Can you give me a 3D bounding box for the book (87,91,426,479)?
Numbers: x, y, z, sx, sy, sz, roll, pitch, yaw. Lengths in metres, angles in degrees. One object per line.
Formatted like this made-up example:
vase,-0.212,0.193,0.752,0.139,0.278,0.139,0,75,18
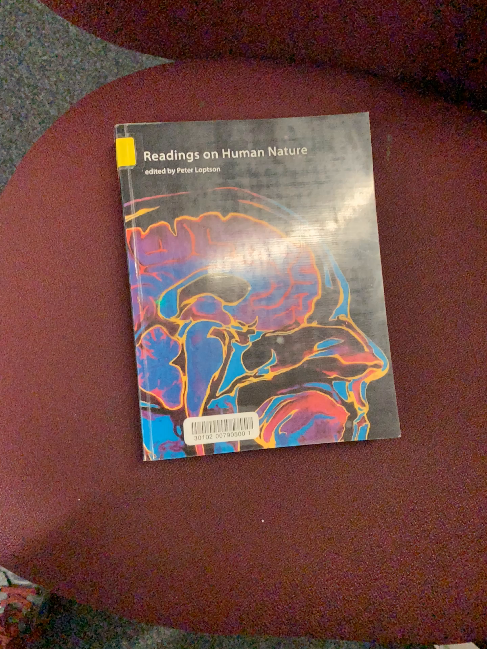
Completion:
book,0.006,-0.031,0.343,0.200,0.040,0.240,-4,85,-5
